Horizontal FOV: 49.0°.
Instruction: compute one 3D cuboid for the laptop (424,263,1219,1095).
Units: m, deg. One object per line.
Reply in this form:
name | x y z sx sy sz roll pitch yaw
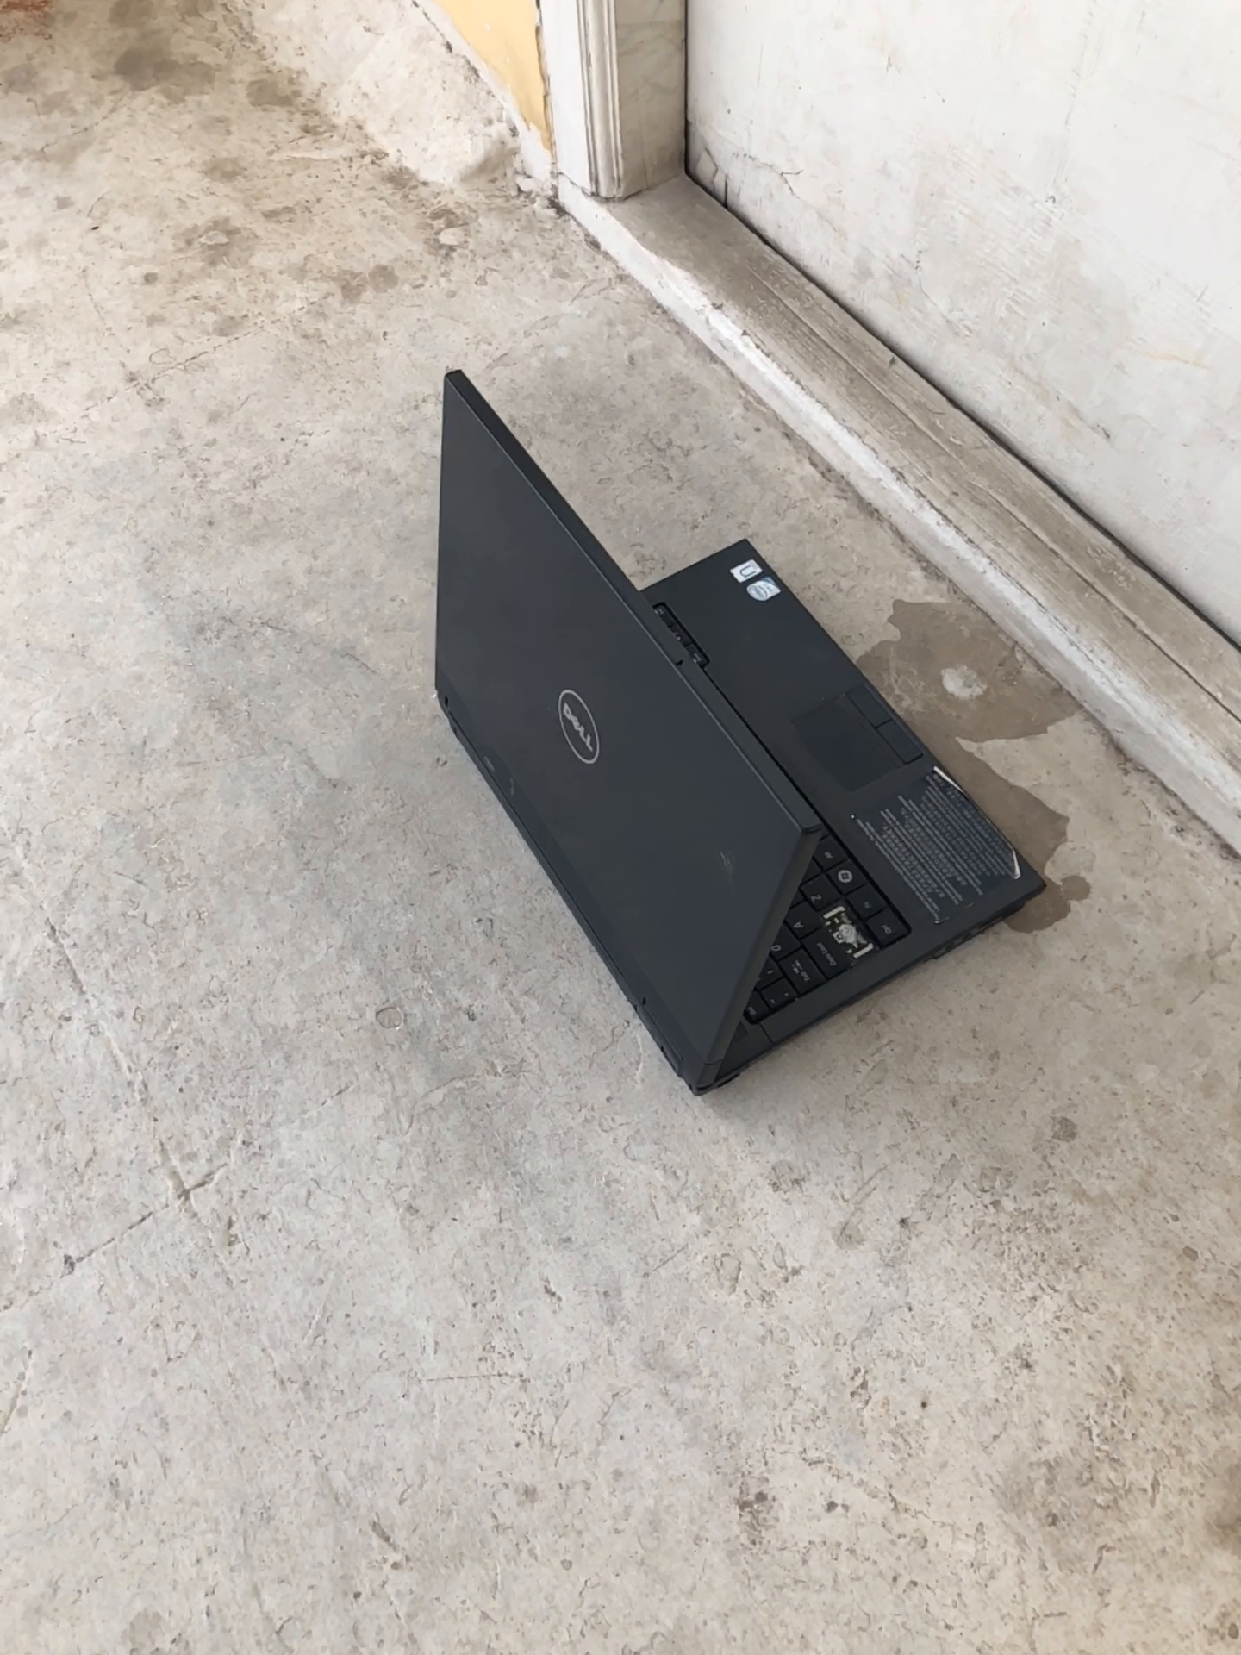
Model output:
laptop | 0.081 -0.070 0.712 0.224 0.252 0.280 -28 62 -12
